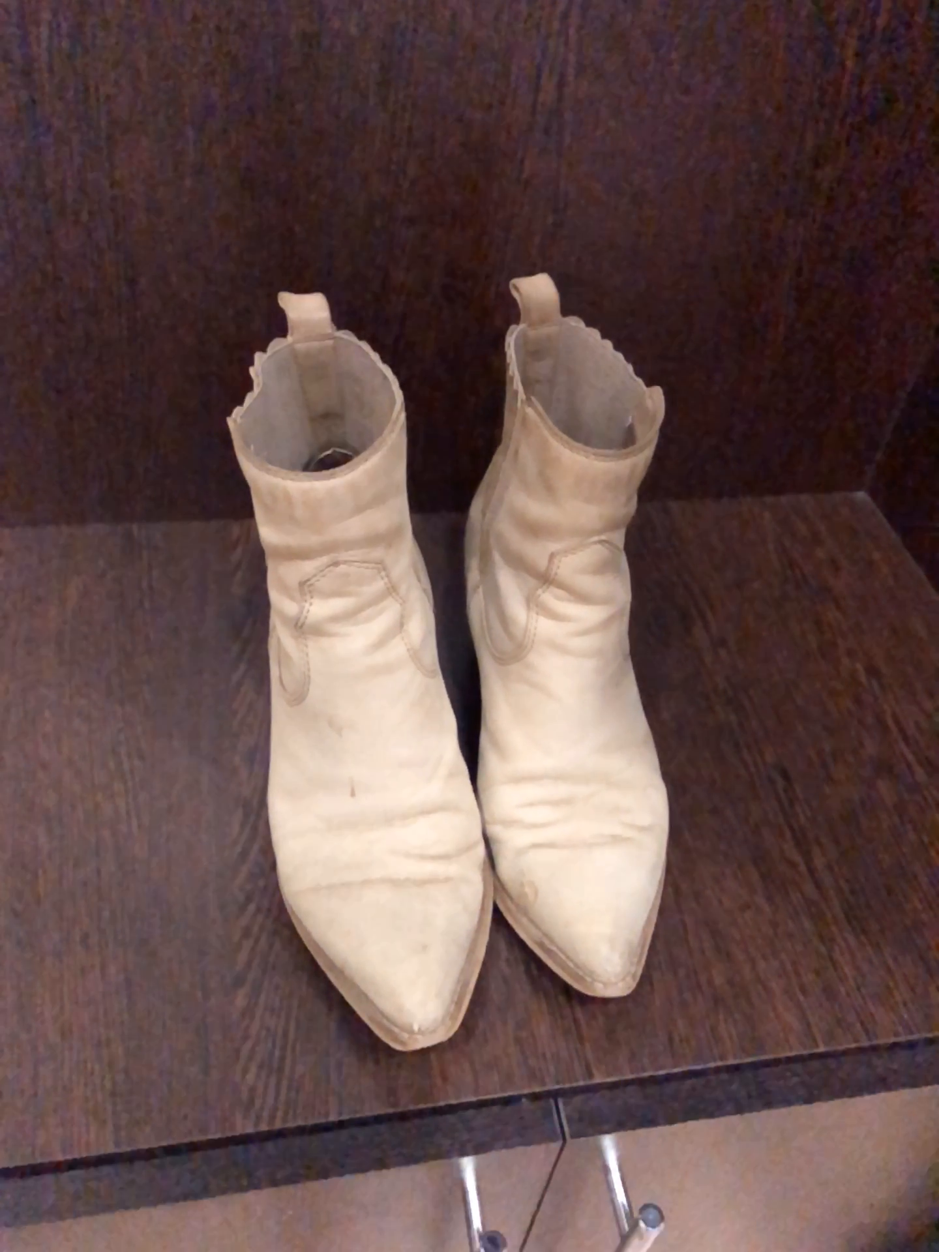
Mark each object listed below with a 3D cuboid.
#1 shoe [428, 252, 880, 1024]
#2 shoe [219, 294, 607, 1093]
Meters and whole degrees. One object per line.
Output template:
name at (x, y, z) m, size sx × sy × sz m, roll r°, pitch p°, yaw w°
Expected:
shoe at (0.044, -0.010, 0.437) m, size 0.100 × 0.169 × 0.281 m, roll 0°, pitch 45°, yaw -6°
shoe at (-0.039, 0.011, 0.421) m, size 0.100 × 0.169 × 0.271 m, roll -4°, pitch 45°, yaw -8°
